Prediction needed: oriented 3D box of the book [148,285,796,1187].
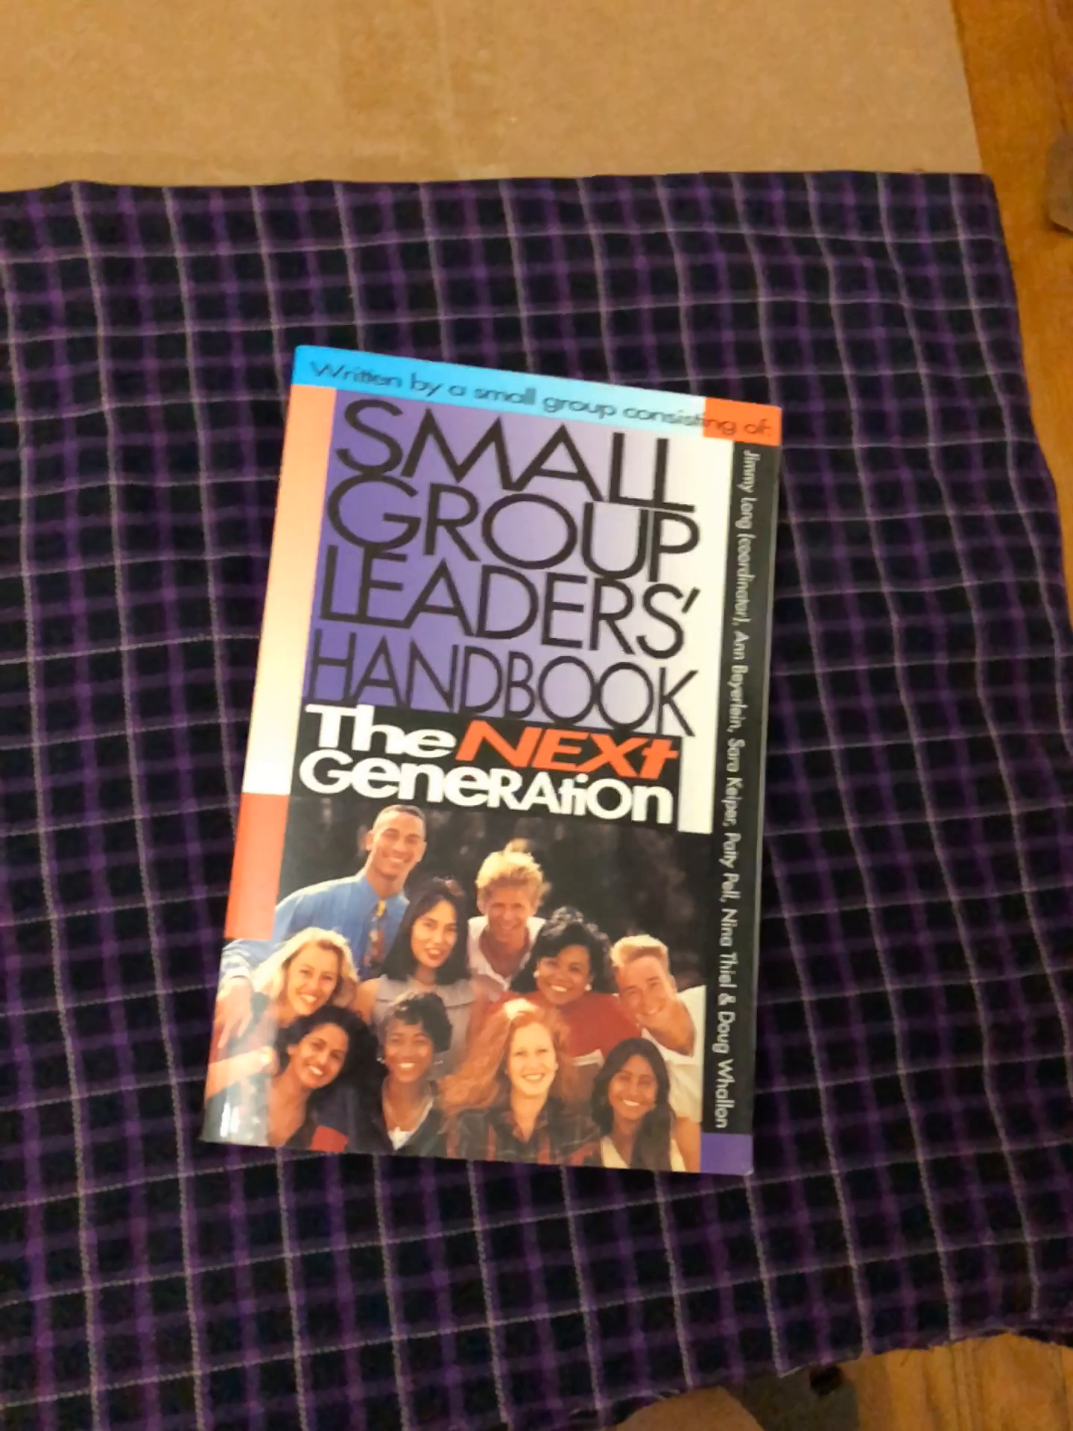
[{"bbox_3d":[-0.012,0.003,0.310,0.150,0.030,0.220,3,79,-7],"label":"book"}]
